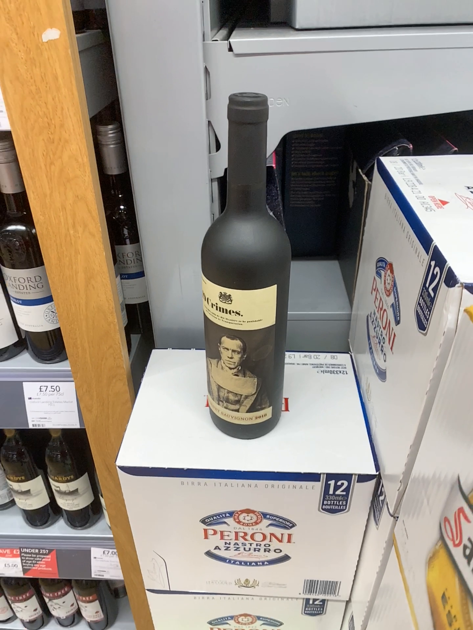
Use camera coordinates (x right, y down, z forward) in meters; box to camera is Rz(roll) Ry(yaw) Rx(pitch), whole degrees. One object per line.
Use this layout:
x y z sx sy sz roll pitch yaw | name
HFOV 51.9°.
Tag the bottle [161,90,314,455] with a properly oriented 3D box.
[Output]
0.006 -0.021 0.401 0.078 0.288 0.075 -1 34 1 | bottle
